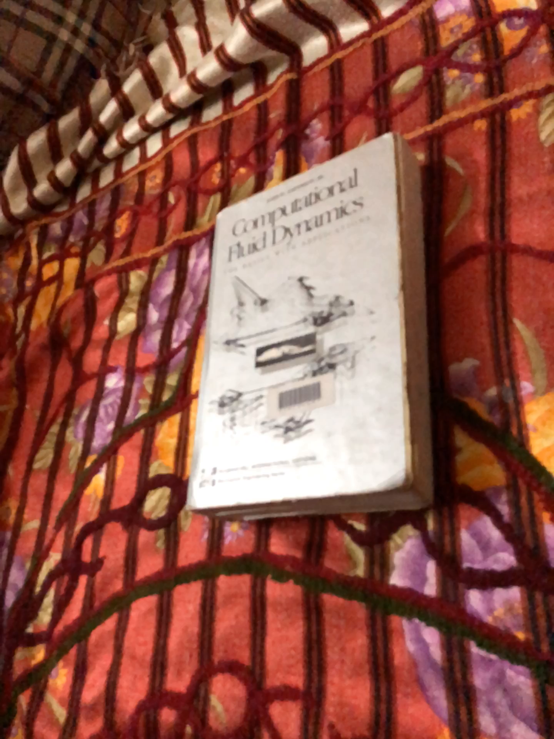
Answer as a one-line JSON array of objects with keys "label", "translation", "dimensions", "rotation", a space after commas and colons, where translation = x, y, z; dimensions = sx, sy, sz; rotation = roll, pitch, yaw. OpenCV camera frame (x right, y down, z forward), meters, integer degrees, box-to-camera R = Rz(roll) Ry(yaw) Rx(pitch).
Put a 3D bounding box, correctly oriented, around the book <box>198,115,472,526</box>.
[{"label": "book", "translation": [0.035, -0.027, 0.419], "dimensions": [0.161, 0.060, 0.250], "rotation": [-14, 63, 34]}]
